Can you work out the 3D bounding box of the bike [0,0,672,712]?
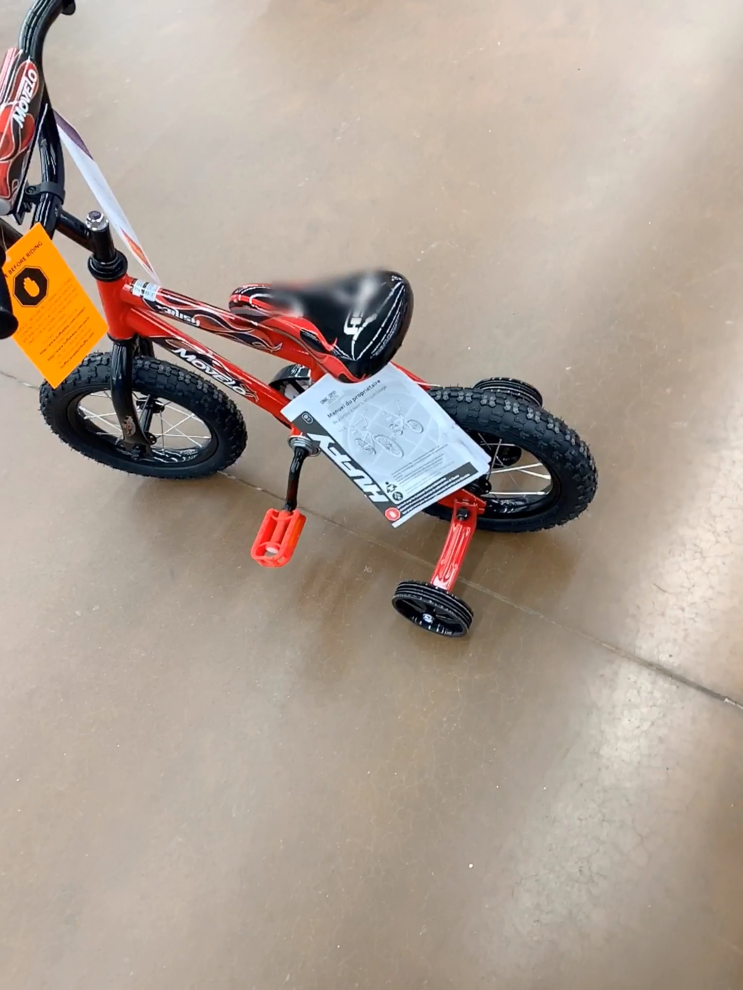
[{"bbox_3d":[-0.144,-0.166,0.770,0.736,0.605,0.440,9,60,16],"label":"bike"}]
